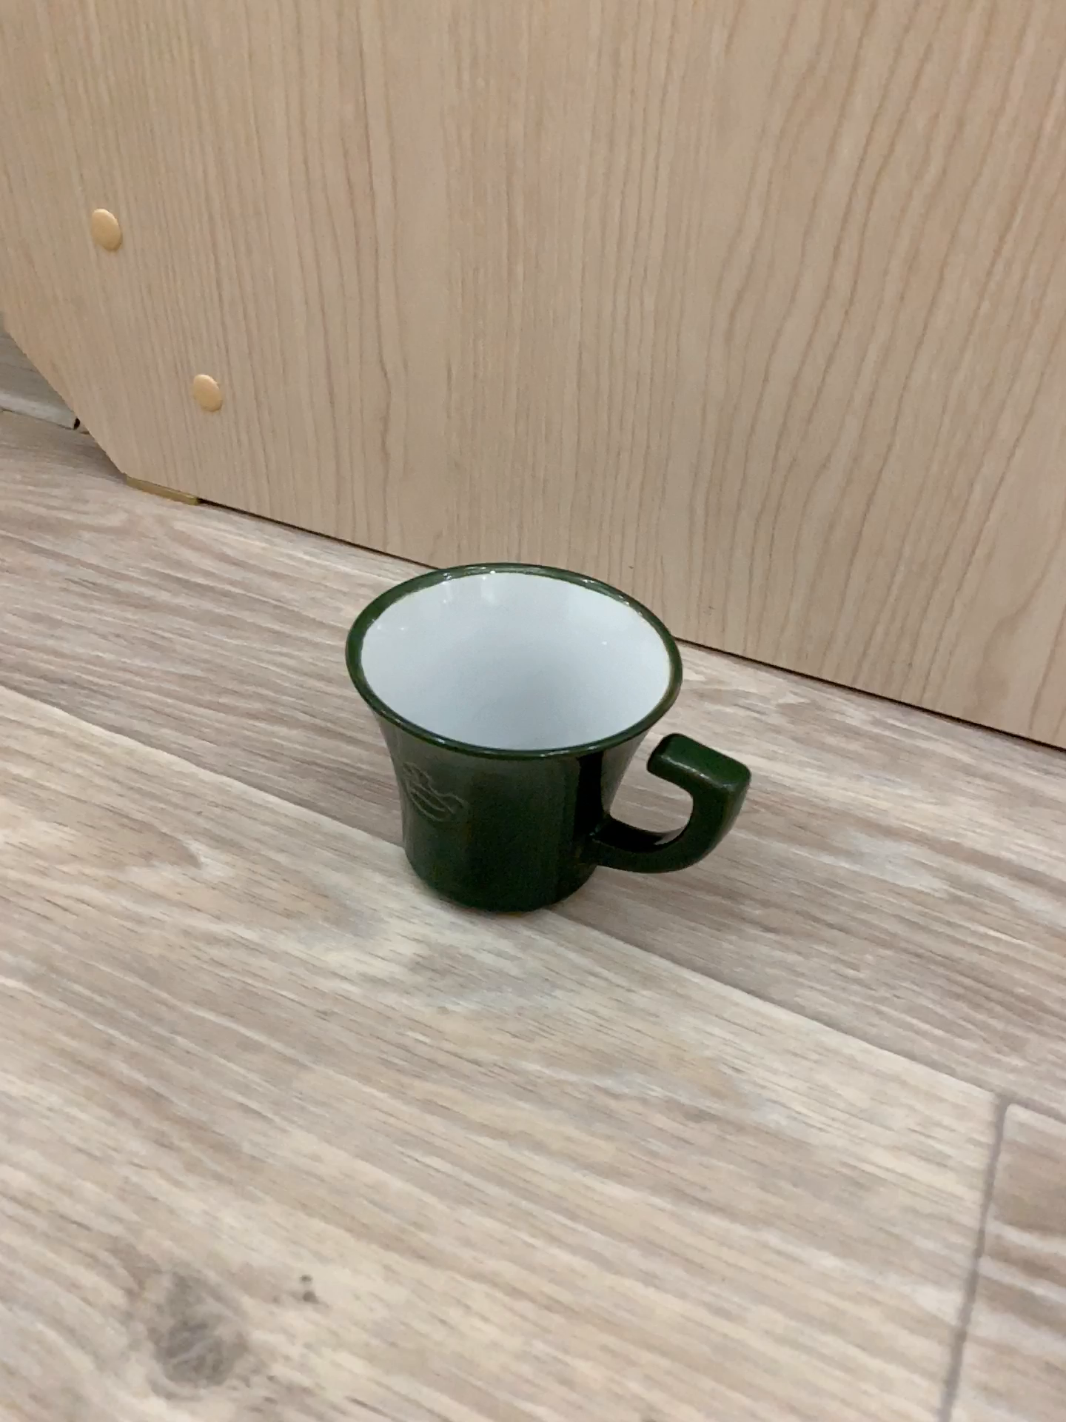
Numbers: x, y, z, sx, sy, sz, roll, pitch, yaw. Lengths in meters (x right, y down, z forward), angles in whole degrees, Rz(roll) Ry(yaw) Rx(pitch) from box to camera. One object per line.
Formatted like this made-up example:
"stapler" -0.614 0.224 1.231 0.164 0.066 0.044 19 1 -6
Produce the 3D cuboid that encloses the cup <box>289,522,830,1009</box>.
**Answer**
"cup" 0.007 0.008 0.280 0.106 0.061 0.074 20 40 21
